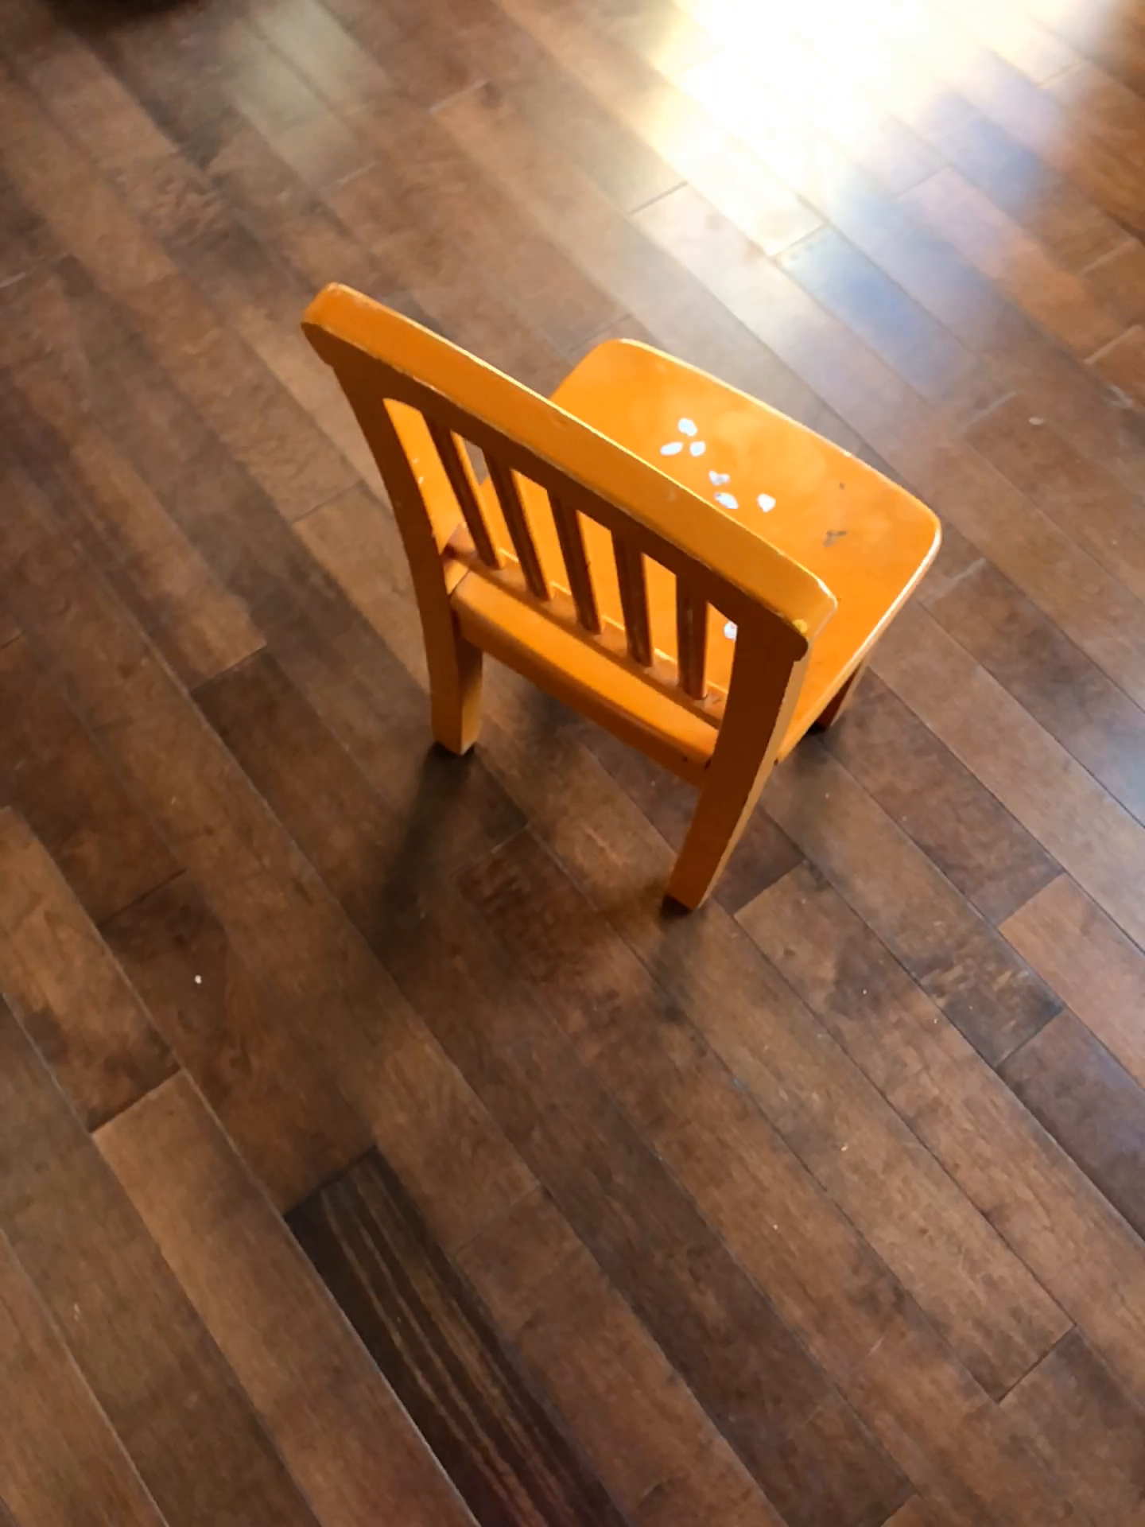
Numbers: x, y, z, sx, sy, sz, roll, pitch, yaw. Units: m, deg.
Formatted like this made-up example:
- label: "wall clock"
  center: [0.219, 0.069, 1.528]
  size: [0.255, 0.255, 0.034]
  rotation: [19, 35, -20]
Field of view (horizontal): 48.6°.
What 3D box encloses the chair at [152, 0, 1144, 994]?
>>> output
- label: "chair"
  center: [0.045, -0.156, 0.870]
  size: [0.360, 0.570, 0.350]
  rotation: [35, 69, 13]
